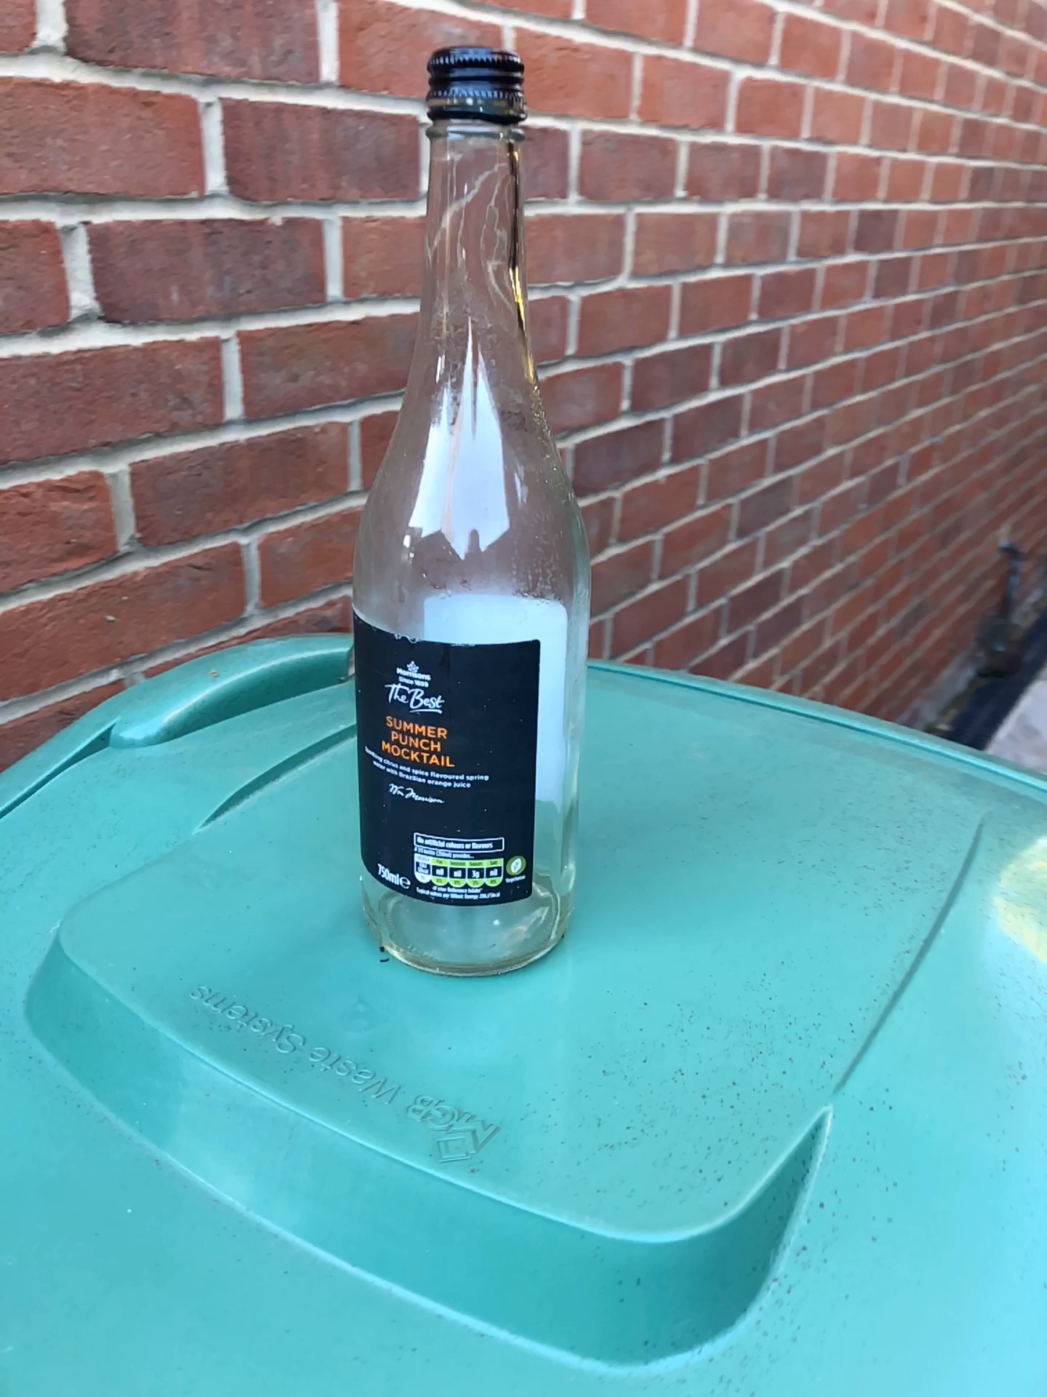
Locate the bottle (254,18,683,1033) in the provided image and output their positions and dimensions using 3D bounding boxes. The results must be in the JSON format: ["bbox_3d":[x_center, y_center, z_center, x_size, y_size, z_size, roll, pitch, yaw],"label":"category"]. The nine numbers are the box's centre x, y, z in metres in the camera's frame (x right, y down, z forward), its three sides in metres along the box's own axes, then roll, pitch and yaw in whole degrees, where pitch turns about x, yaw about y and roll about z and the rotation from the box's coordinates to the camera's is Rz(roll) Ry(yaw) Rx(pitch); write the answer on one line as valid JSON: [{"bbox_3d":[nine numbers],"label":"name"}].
[{"bbox_3d":[-0.015,-0.046,0.373,0.090,0.288,0.080,12,25,24],"label":"bottle"}]
